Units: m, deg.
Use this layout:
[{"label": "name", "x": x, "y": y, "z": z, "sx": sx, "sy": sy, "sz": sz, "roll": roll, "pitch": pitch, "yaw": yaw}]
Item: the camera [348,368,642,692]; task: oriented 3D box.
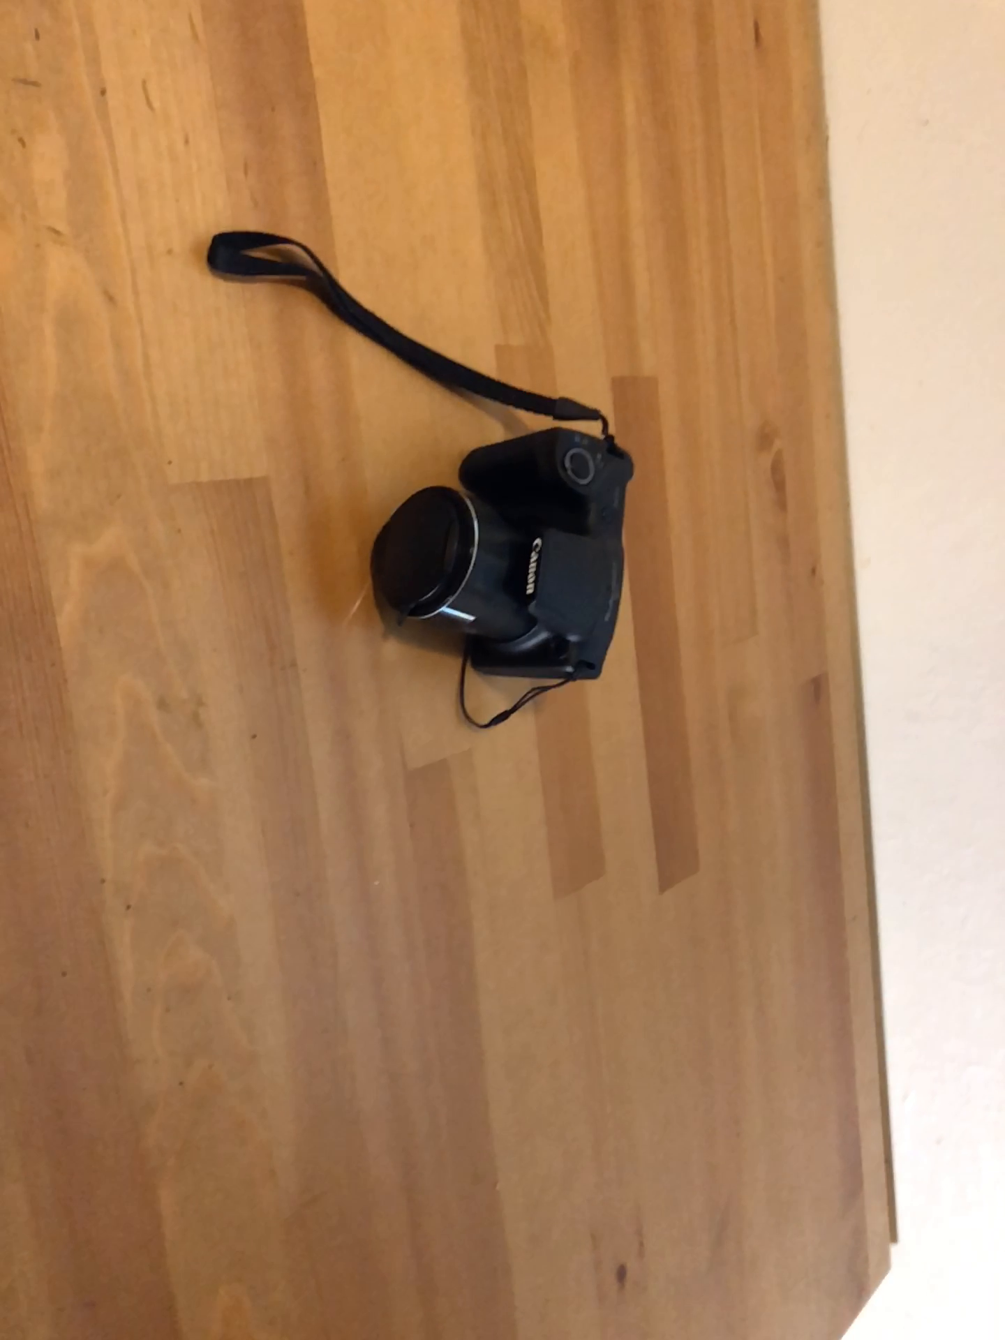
[{"label": "camera", "x": -0.001, "y": -0.053, "z": 0.467, "sx": 0.097, "sy": 0.062, "sz": 0.109, "roll": 13, "pitch": 81, "yaw": -47}]
